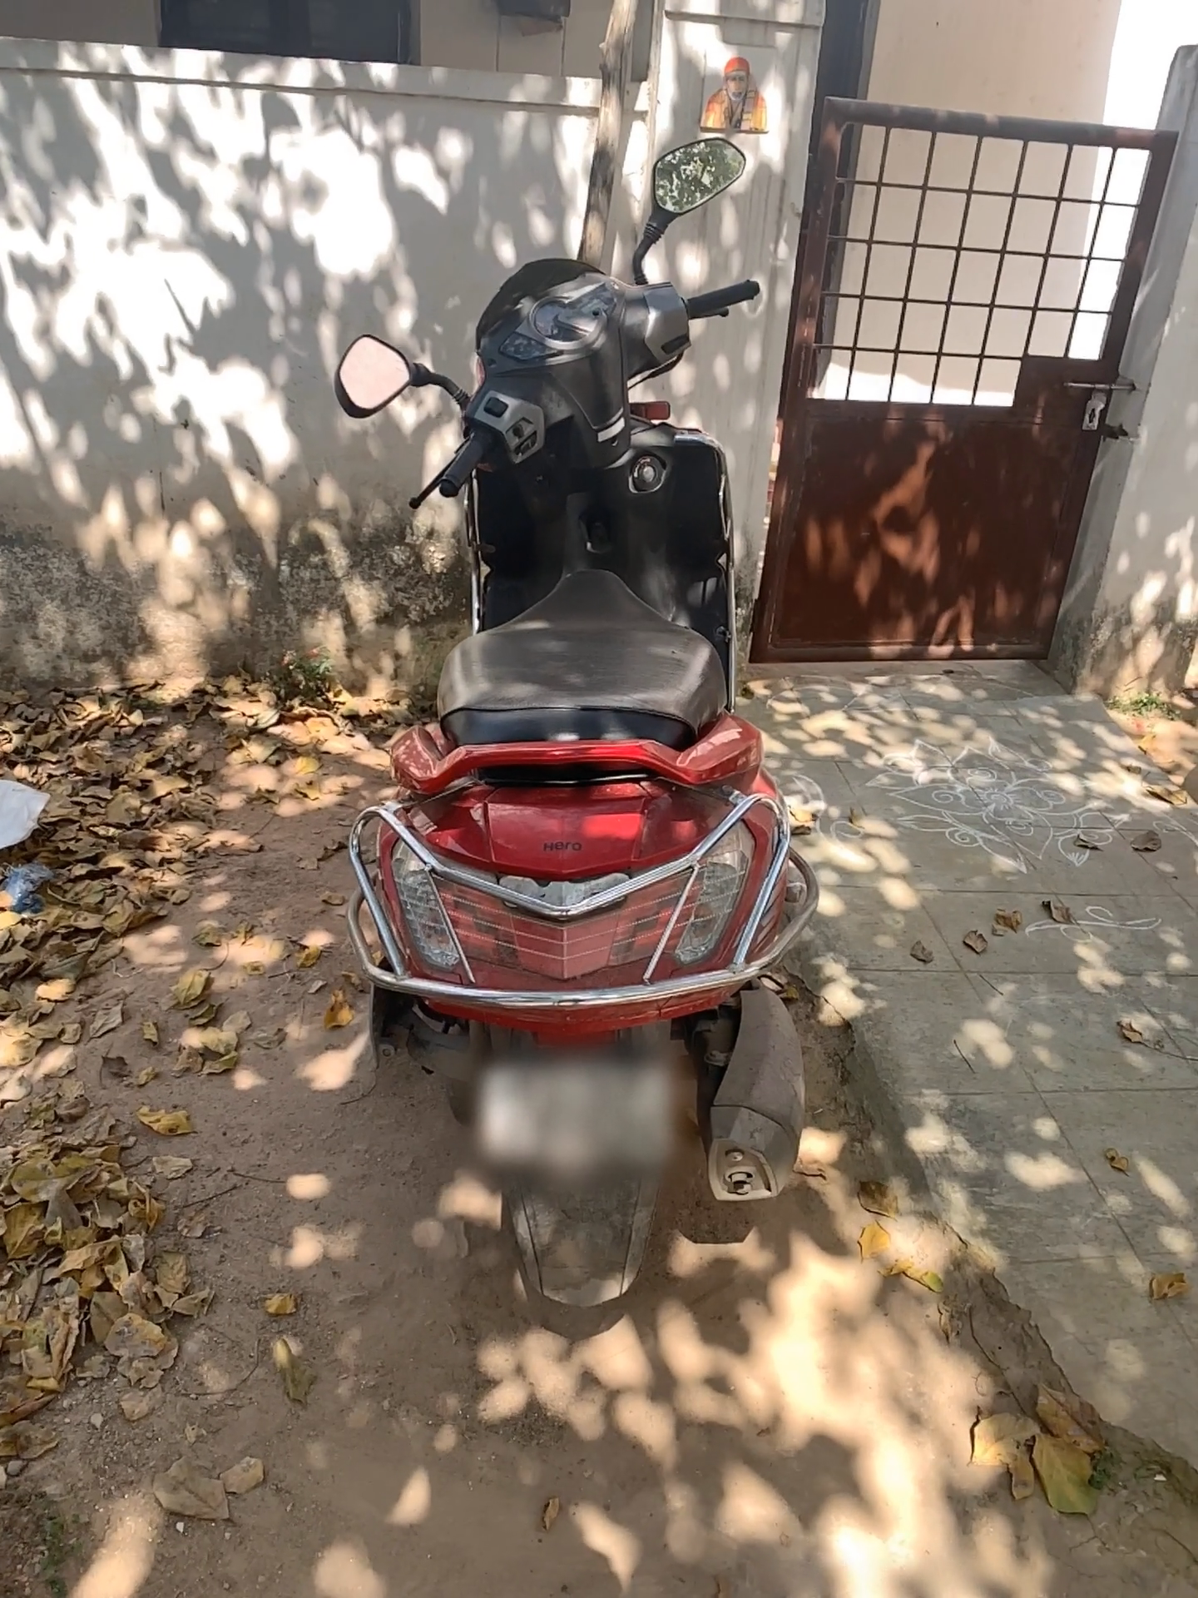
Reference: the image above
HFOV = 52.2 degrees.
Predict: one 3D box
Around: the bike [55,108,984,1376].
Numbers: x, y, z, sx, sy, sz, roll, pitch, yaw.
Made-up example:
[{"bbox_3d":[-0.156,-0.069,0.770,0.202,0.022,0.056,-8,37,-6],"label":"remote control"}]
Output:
[{"bbox_3d":[-0.228,-0.320,1.948,0.735,1.155,1.769,-1,32,-9],"label":"bike"}]
